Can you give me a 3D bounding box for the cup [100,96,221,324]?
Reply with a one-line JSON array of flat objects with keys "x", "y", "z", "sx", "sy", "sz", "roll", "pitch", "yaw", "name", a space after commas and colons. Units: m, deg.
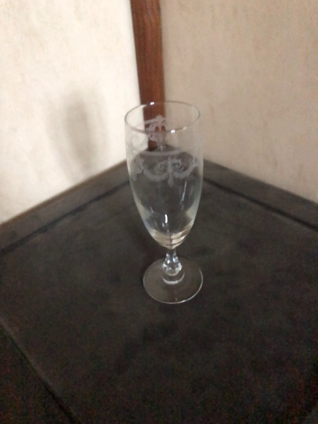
[{"x": 0.009, "y": 0.005, "z": 0.282, "sx": 0.060, "sy": 0.169, "sz": 0.060, "roll": -4, "pitch": 38, "yaw": 3, "name": "cup"}]
